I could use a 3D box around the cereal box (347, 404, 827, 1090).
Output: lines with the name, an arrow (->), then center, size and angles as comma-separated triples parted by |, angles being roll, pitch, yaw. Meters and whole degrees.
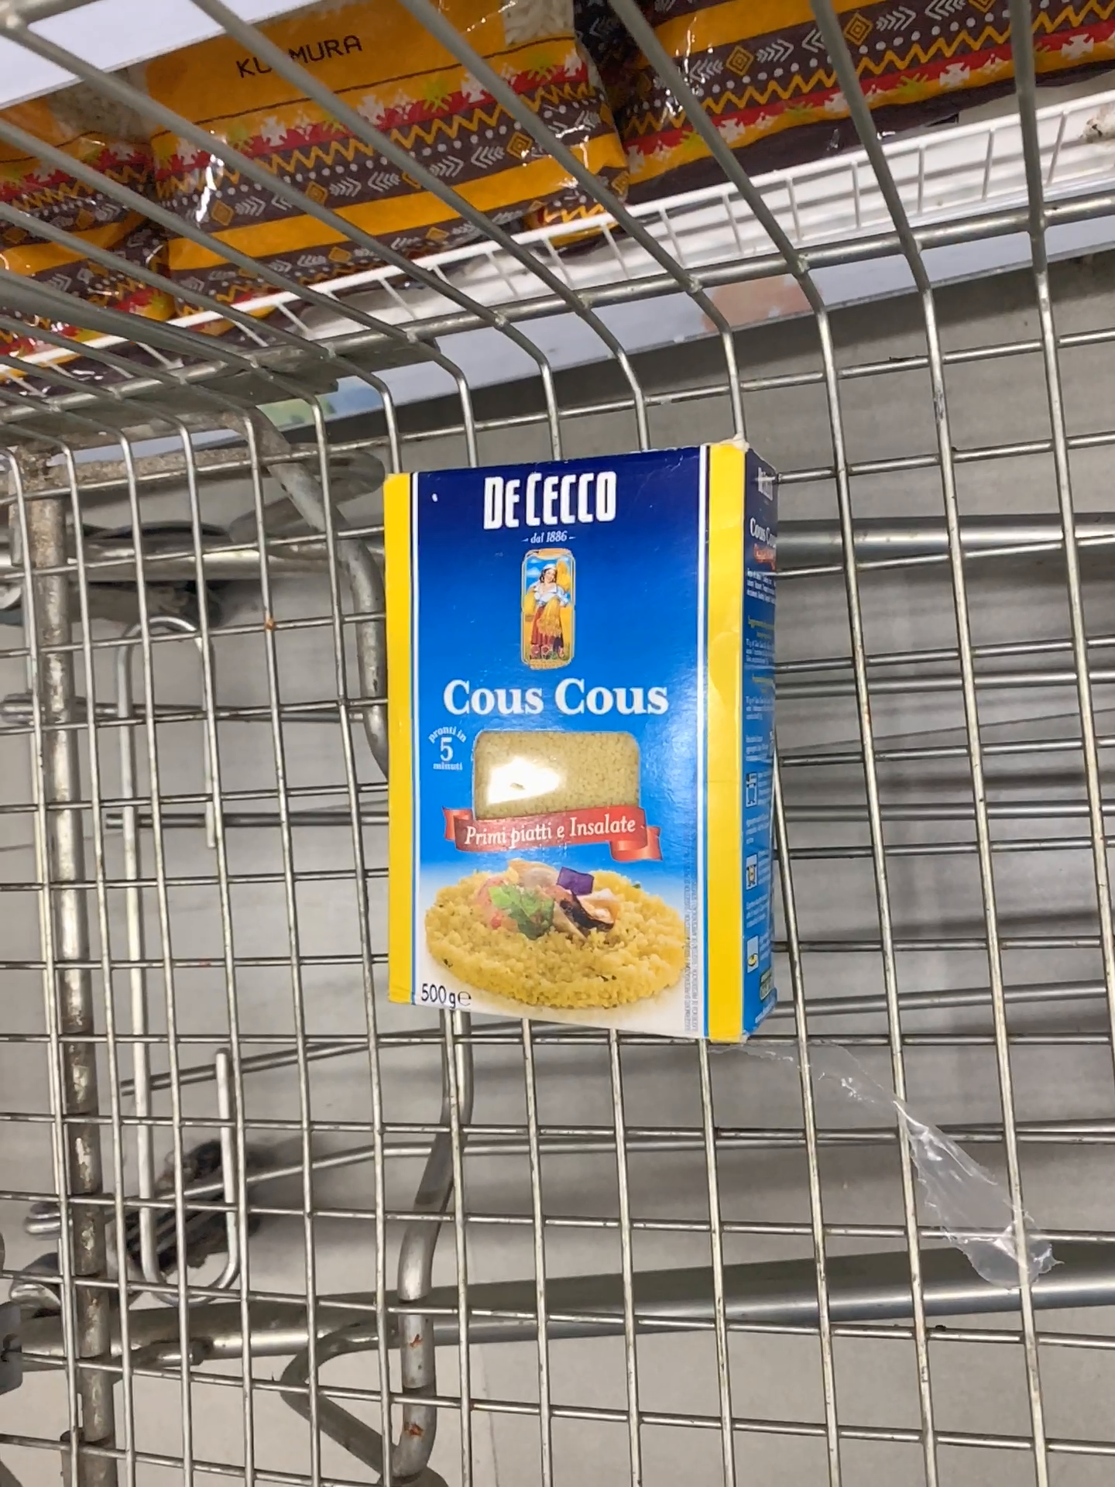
cereal box -> 0.008, 0.000, 0.314 | 0.120, 0.050, 0.160 | 1, 90, 24
